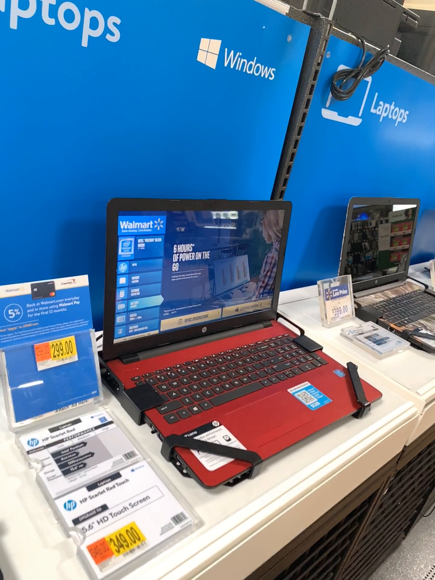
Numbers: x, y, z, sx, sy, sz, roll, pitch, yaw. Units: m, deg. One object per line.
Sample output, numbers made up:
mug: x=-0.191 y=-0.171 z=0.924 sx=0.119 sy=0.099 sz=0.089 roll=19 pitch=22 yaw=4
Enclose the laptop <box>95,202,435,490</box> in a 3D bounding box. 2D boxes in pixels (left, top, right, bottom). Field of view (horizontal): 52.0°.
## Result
laptop: x=0.066 y=0.028 z=0.642 sx=0.364 sy=0.223 sz=0.280 roll=-9 pitch=33 yaw=-41
